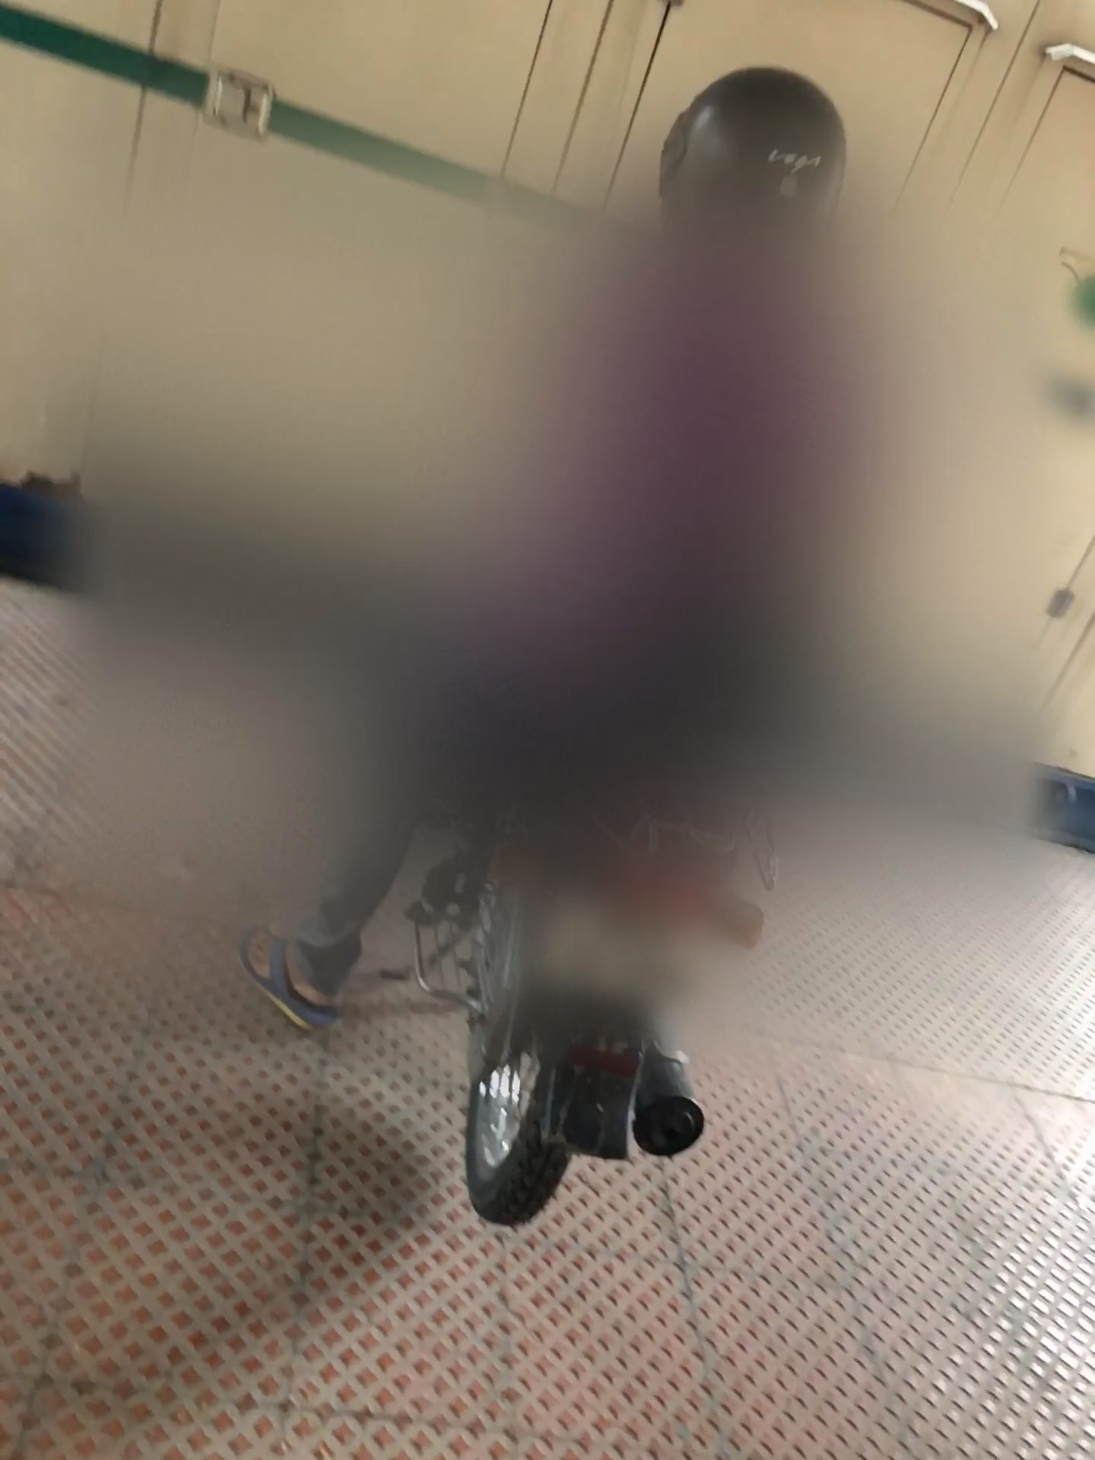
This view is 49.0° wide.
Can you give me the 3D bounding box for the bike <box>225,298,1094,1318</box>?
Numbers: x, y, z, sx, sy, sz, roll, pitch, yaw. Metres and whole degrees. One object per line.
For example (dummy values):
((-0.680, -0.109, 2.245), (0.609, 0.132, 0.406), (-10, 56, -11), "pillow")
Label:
((0.208, -0.045, 2.118), (0.814, 0.928, 1.602), (18, 27, -5), "bike")
